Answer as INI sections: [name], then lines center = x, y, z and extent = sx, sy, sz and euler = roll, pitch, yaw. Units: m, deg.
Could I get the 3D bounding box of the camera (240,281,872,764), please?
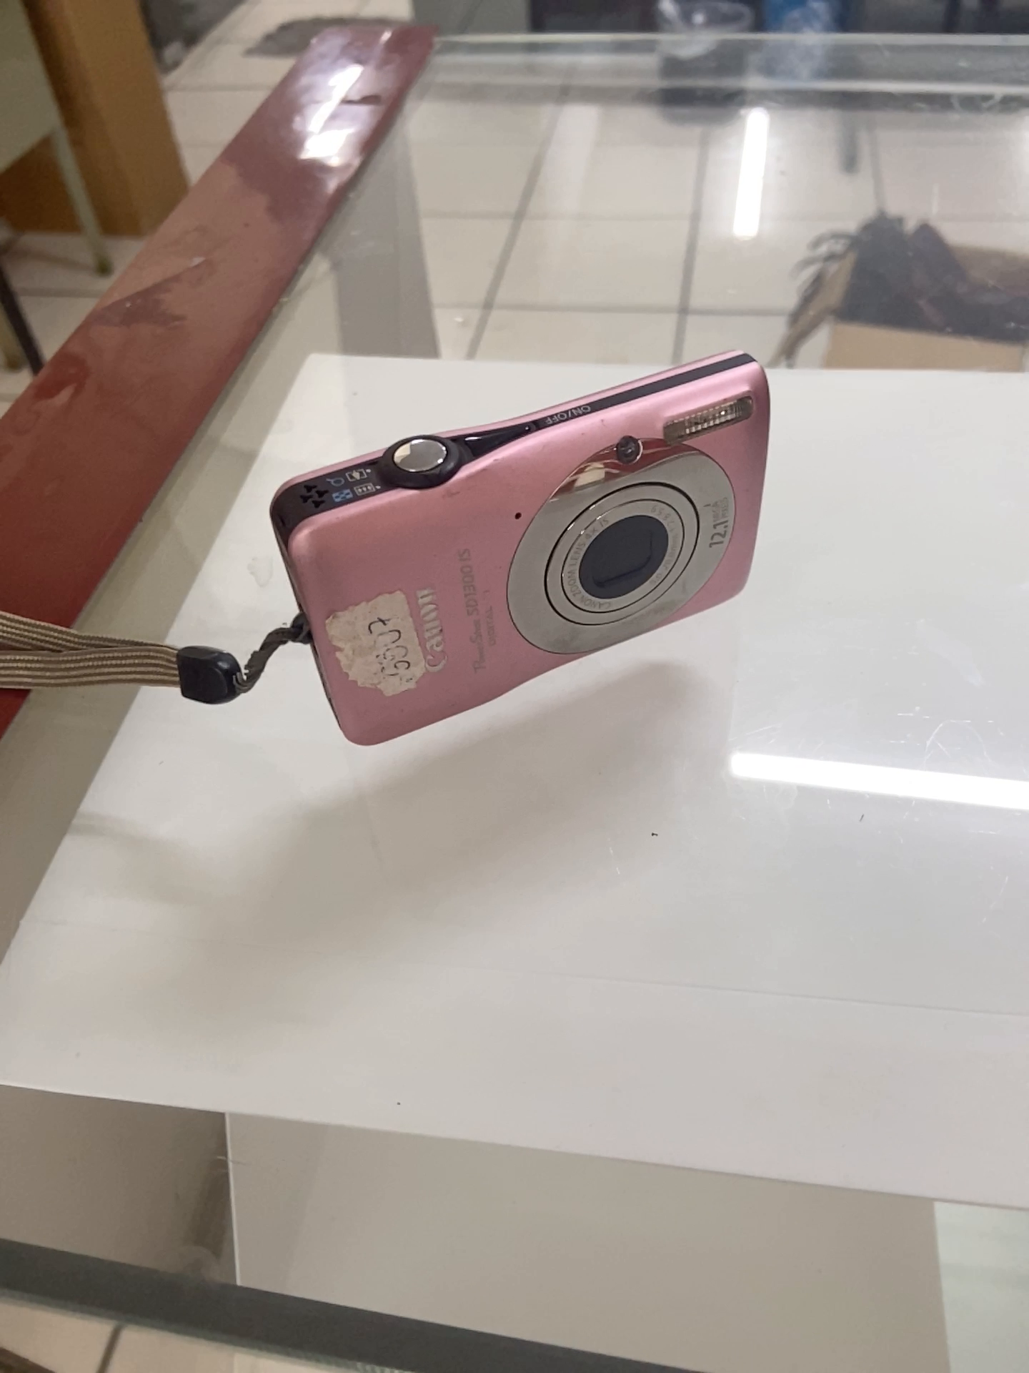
[camera]
center = 0.009, -0.031, 0.192
extent = 0.100, 0.050, 0.030
euler = -21, 49, -17
